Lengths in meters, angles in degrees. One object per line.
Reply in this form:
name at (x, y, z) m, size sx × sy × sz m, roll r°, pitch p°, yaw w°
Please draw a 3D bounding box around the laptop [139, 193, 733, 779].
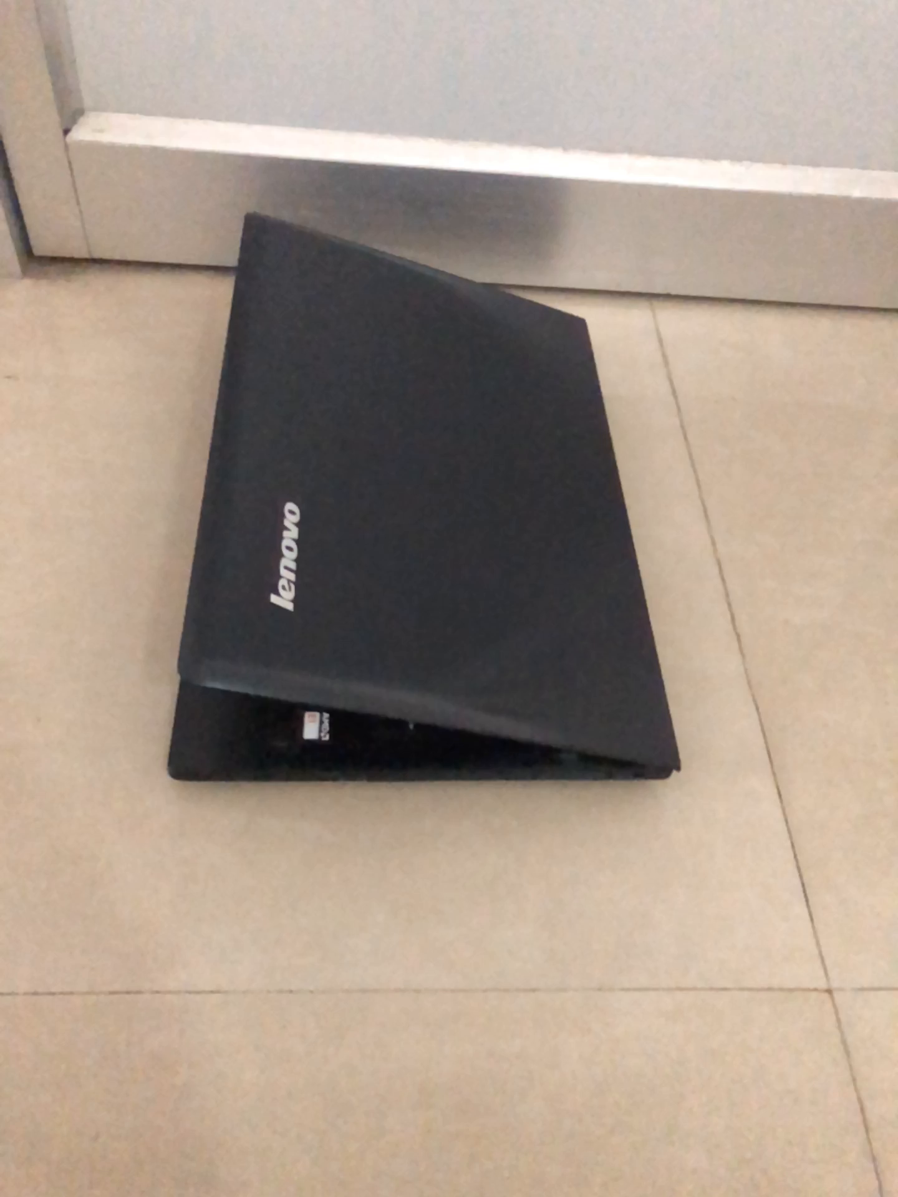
laptop at (-0.014, -0.087, 0.579) m, size 0.257 × 0.097 × 0.368 m, roll 1°, pitch 51°, yaw -7°
